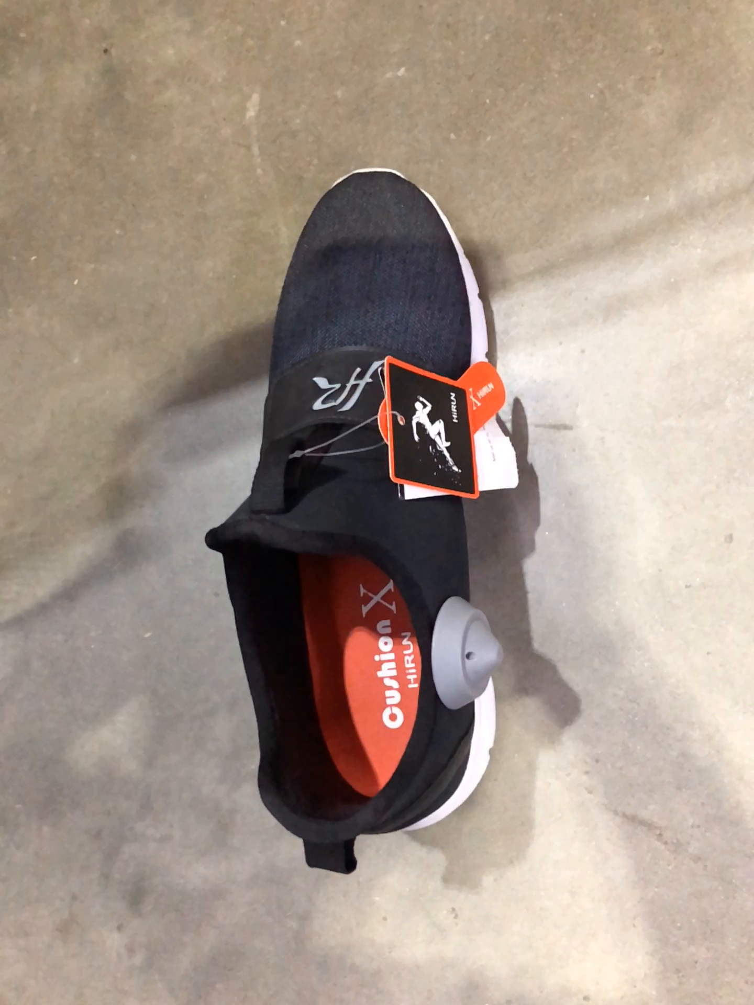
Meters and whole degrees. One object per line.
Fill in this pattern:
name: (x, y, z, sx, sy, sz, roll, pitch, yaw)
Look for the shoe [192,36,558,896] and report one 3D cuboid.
shoe: (0.006, -0.010, 0.336, 0.100, 0.130, 0.270, -4, 84, 18)
